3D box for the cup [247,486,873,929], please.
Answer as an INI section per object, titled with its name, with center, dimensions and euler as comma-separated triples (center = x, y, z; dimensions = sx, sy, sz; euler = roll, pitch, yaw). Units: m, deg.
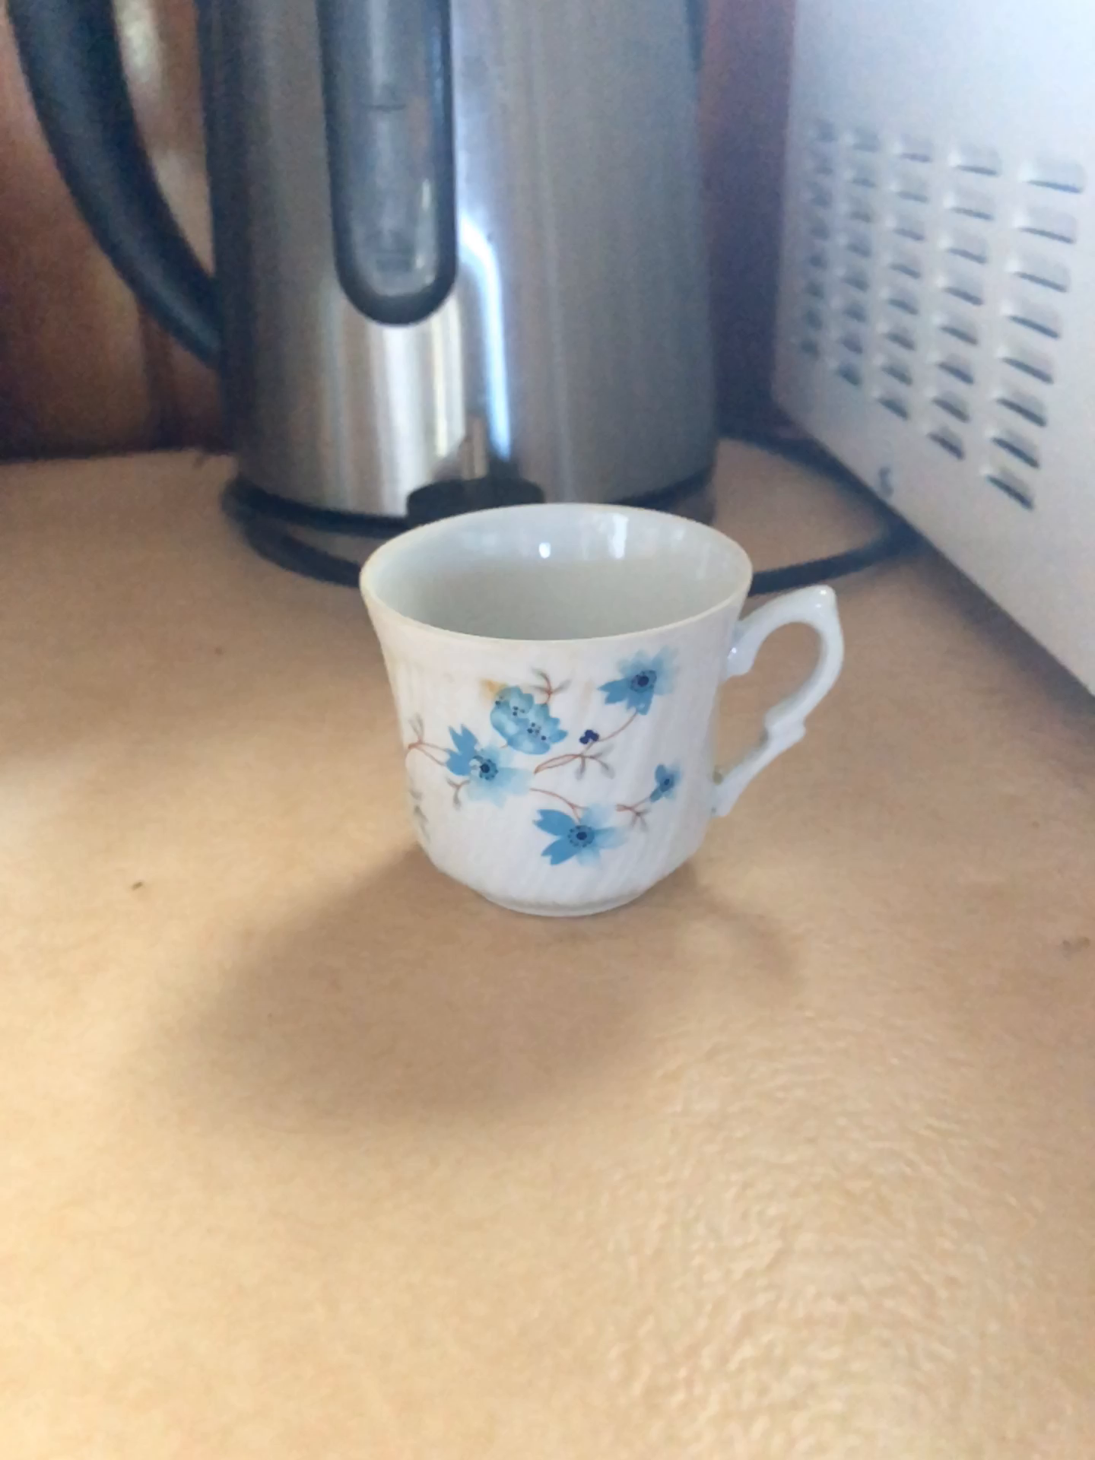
[cup]
center = 0.005, -0.008, 0.219
dimensions = 0.090, 0.050, 0.070
euler = 2, 28, 5
